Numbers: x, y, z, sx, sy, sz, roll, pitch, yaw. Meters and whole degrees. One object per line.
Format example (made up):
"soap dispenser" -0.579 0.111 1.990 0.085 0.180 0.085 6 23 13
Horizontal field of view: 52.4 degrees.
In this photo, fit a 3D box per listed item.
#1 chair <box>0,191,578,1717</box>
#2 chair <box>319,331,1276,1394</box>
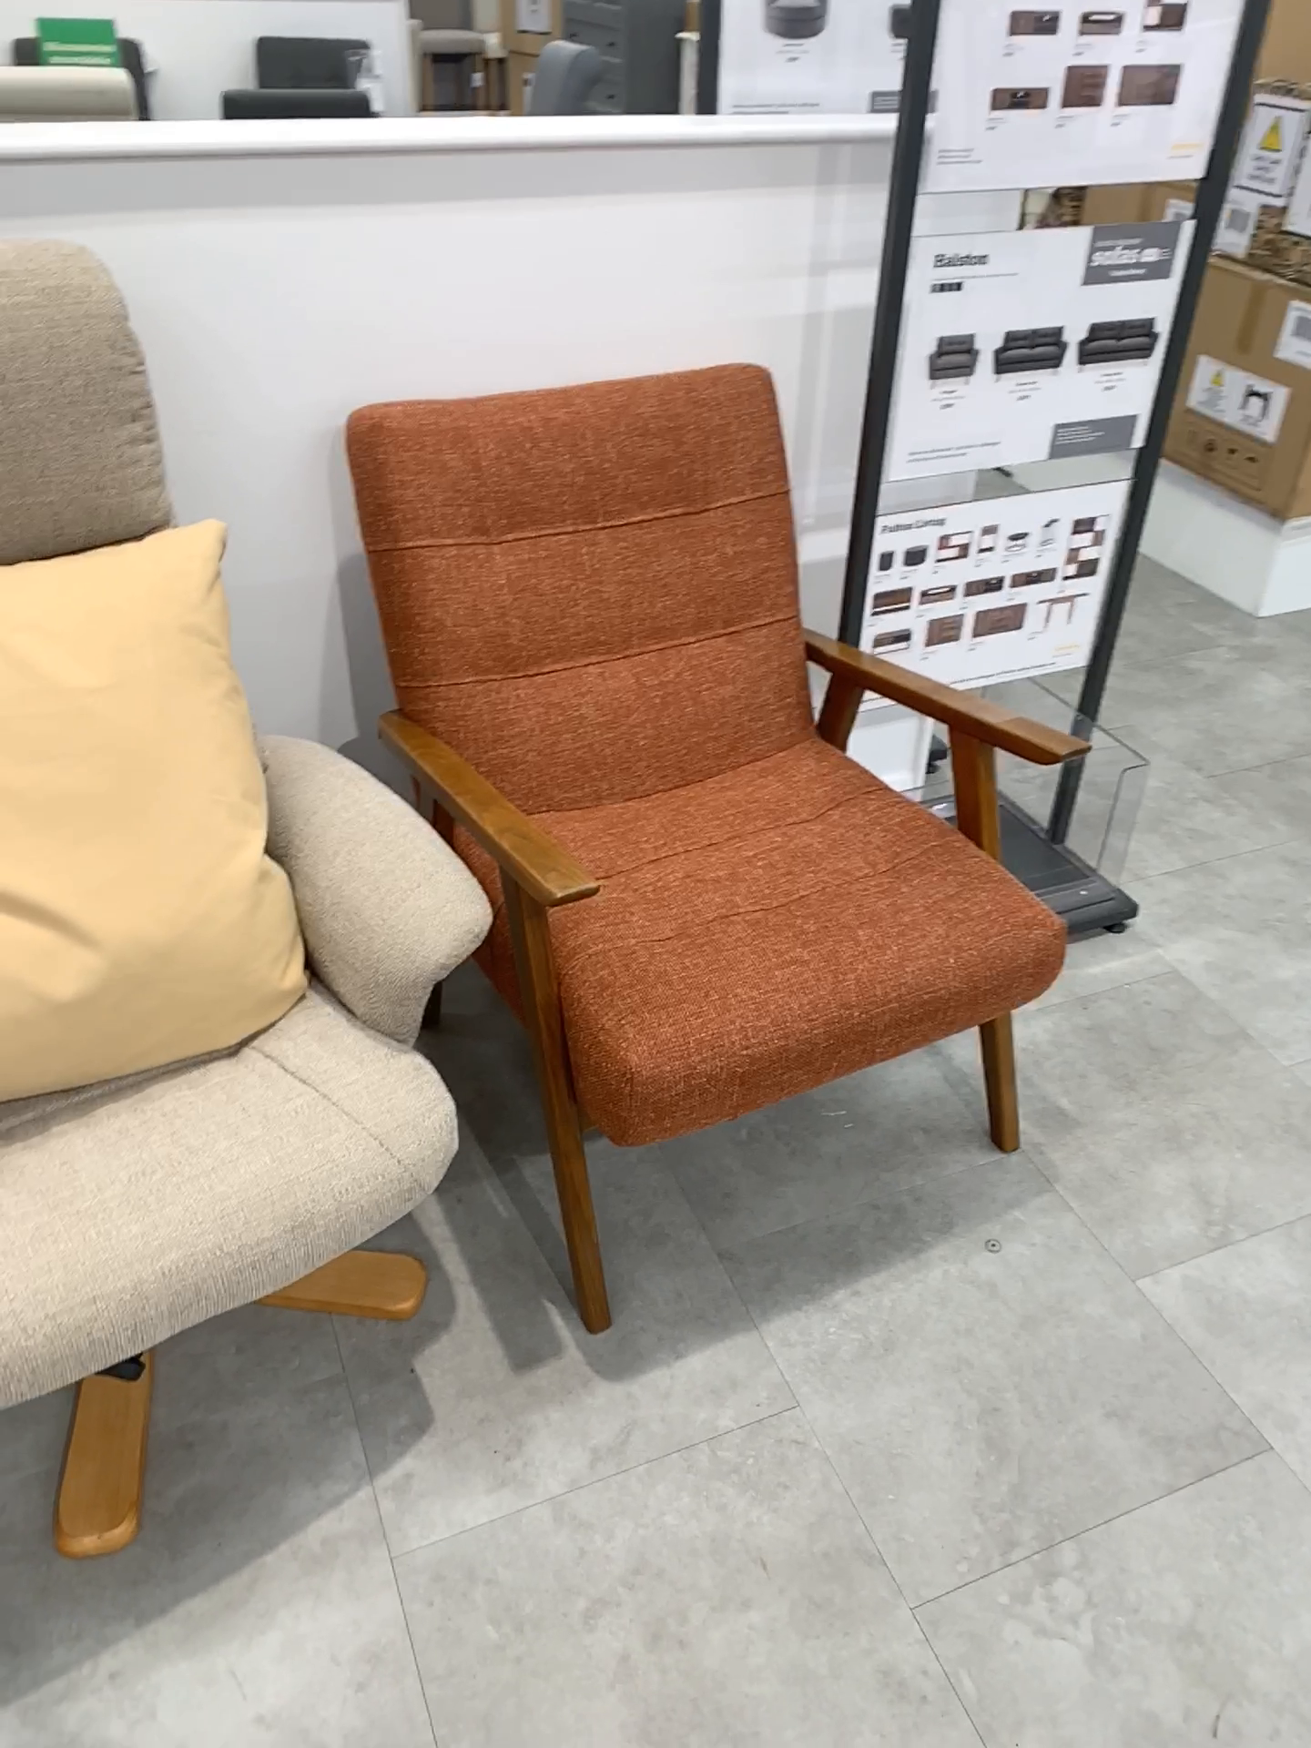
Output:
"chair" -0.556 0.010 1.224 0.700 1.013 0.683 -23 42 -31
"chair" 0.089 -0.068 1.585 0.689 0.884 0.704 -16 39 -23
